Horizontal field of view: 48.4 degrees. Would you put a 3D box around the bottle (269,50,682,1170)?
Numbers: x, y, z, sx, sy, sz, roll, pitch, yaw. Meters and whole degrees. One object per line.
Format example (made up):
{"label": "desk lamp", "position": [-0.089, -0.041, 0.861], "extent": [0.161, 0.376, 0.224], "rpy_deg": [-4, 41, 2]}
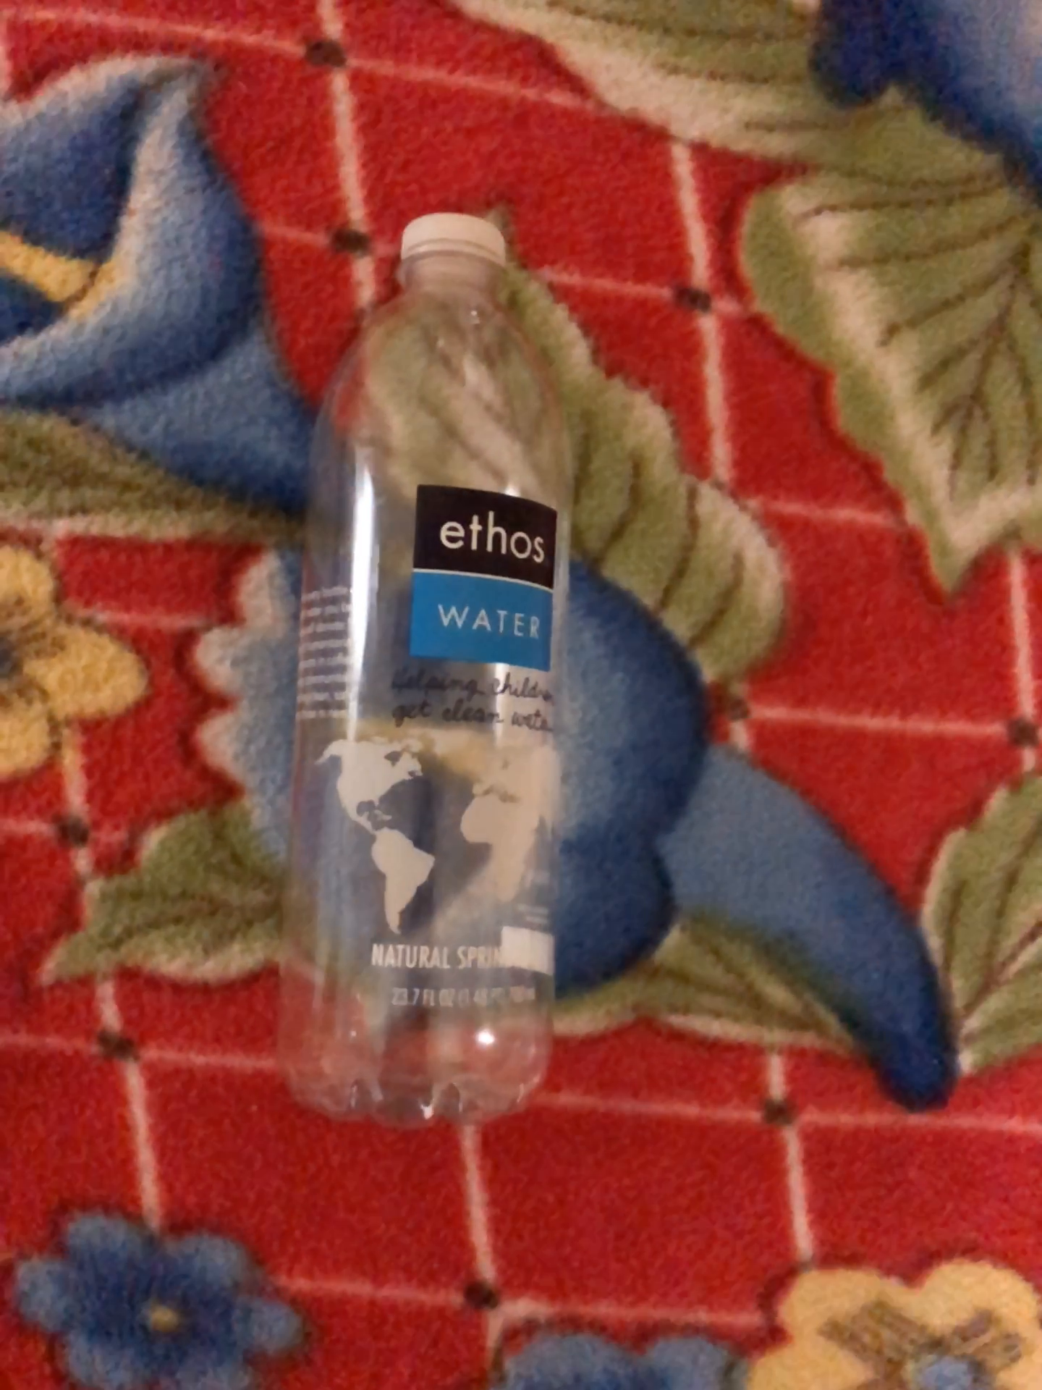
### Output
{"label": "bottle", "position": [-0.013, -0.017, 0.295], "extent": [0.070, 0.070, 0.240], "rpy_deg": [4, 88, -28]}
